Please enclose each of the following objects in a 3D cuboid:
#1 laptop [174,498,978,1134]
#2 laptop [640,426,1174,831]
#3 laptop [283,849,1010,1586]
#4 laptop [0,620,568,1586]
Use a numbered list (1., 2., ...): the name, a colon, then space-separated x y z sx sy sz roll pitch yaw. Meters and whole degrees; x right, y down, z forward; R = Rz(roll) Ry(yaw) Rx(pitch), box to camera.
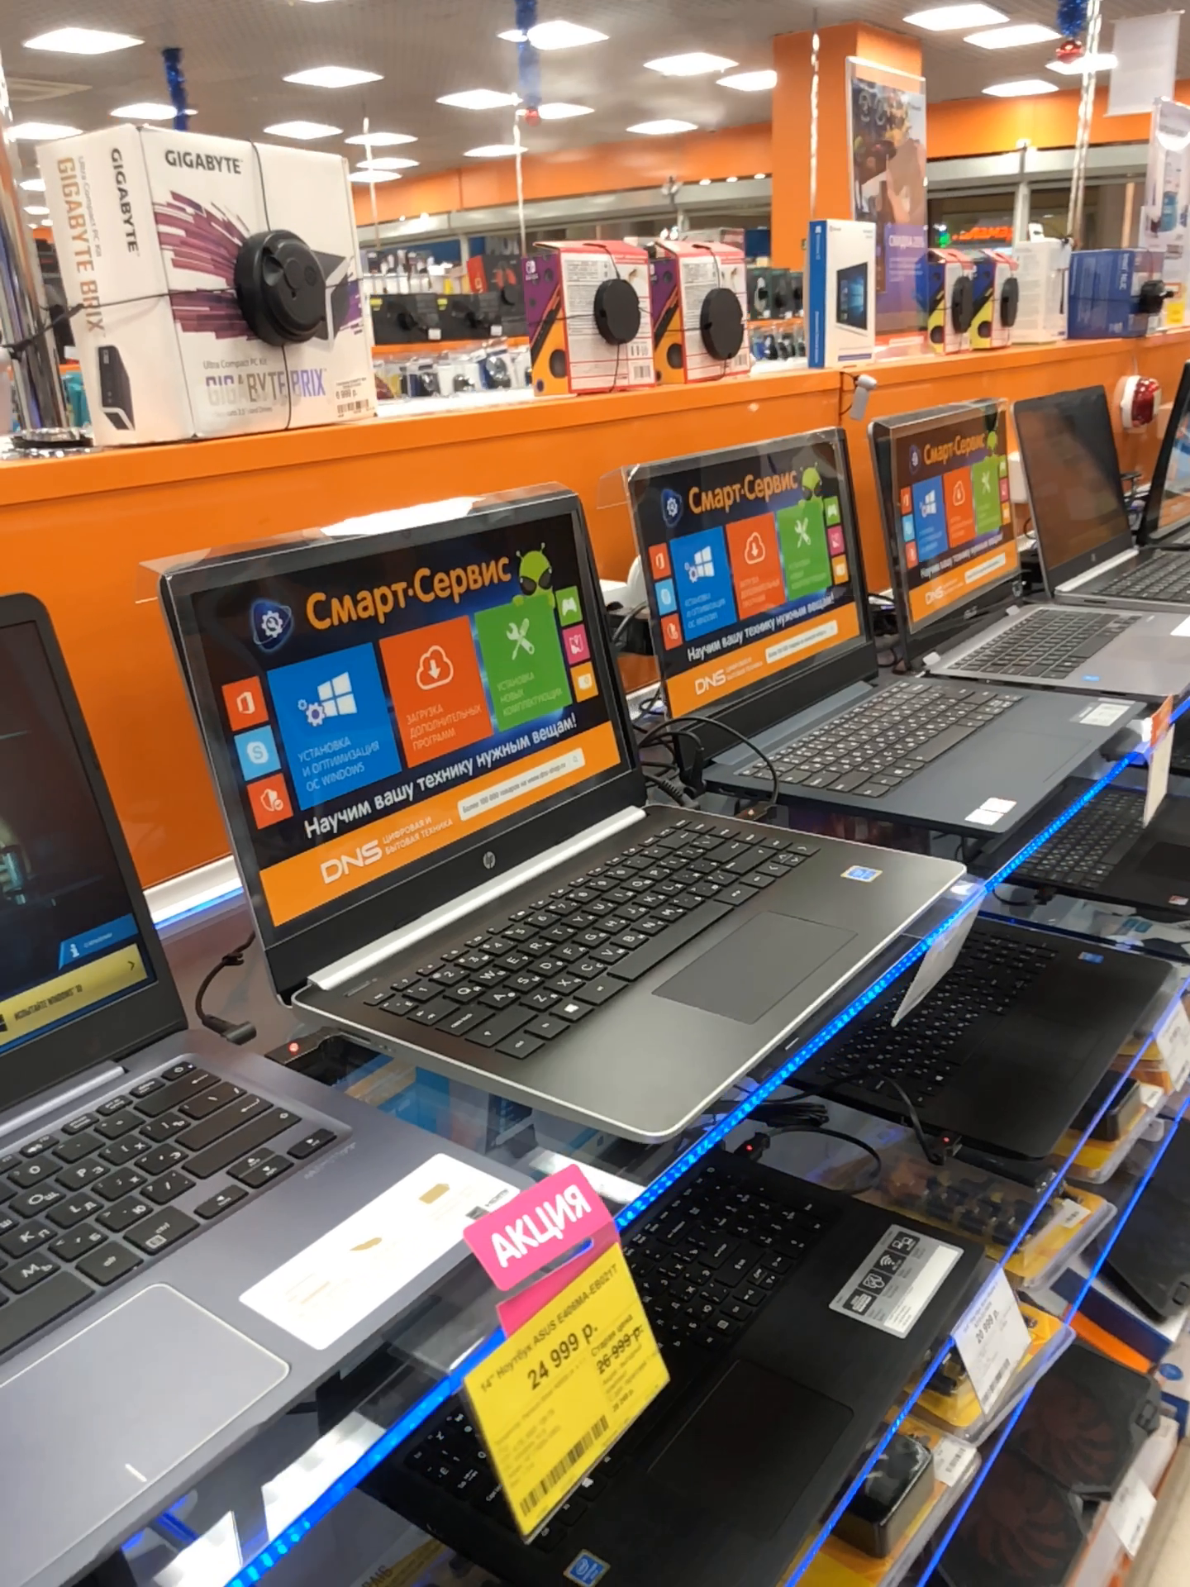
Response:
1. laptop: 0.008 -0.028 0.679 0.267 0.197 0.314 12 24 35
2. laptop: 0.226 -0.139 0.937 0.248 0.205 0.277 13 26 37
3. laptop: 0.052 0.230 0.784 0.251 0.245 0.363 11 24 36
4. laptop: -0.229 0.075 0.416 0.279 0.199 0.314 9 22 35
